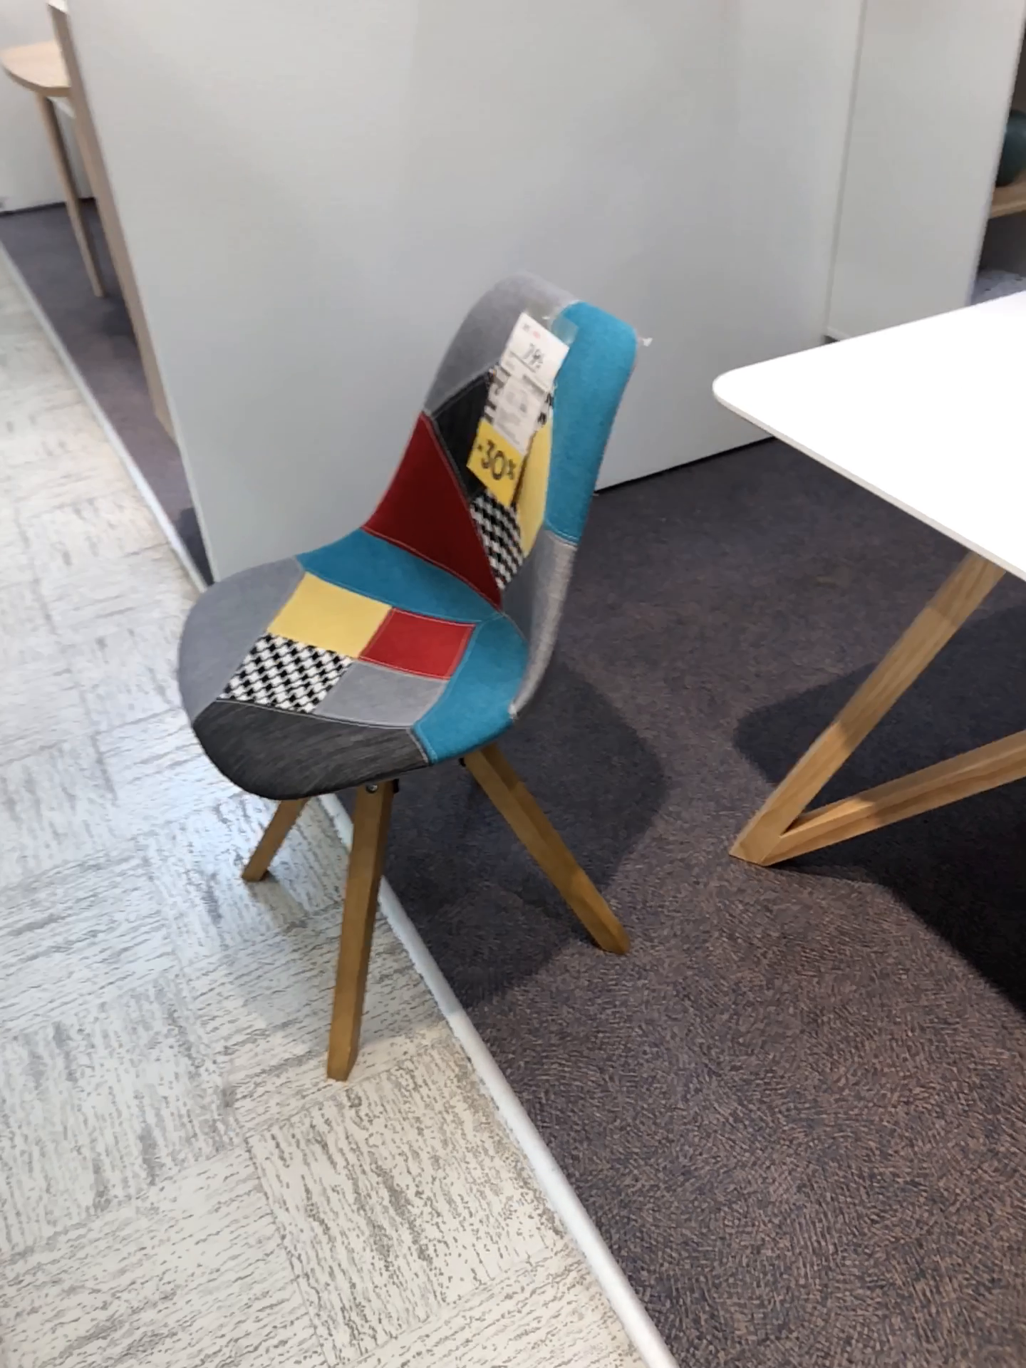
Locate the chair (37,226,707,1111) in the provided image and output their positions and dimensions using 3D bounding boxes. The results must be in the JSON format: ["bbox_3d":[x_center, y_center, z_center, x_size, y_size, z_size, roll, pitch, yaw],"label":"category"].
[{"bbox_3d":[-0.139,-0.023,1.341,0.512,0.815,0.471,-21,41,-21],"label":"chair"}]
